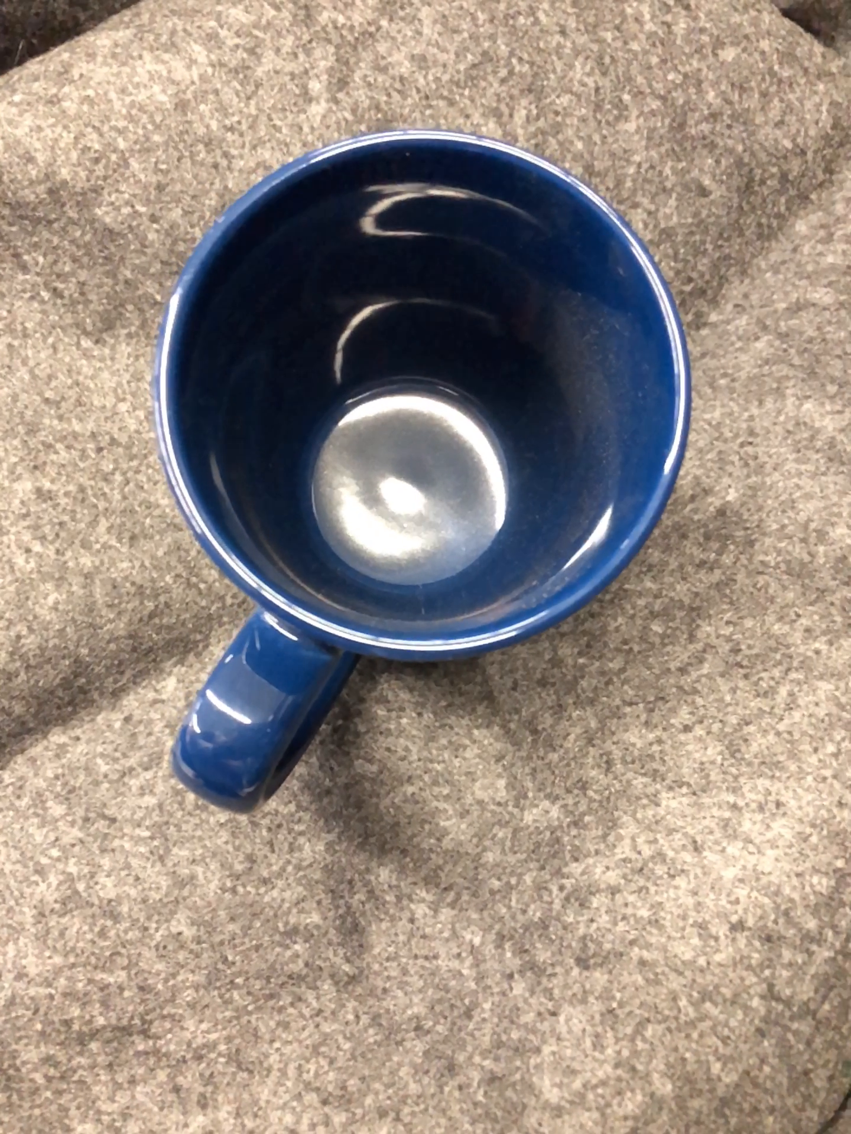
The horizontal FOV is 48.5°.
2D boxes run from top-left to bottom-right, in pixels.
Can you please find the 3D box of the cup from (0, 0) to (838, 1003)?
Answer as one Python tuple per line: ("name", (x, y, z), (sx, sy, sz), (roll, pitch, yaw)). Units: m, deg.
("cup", (-0.010, -0.009, 0.199), (0.090, 0.110, 0.130), (35, 82, 3))
